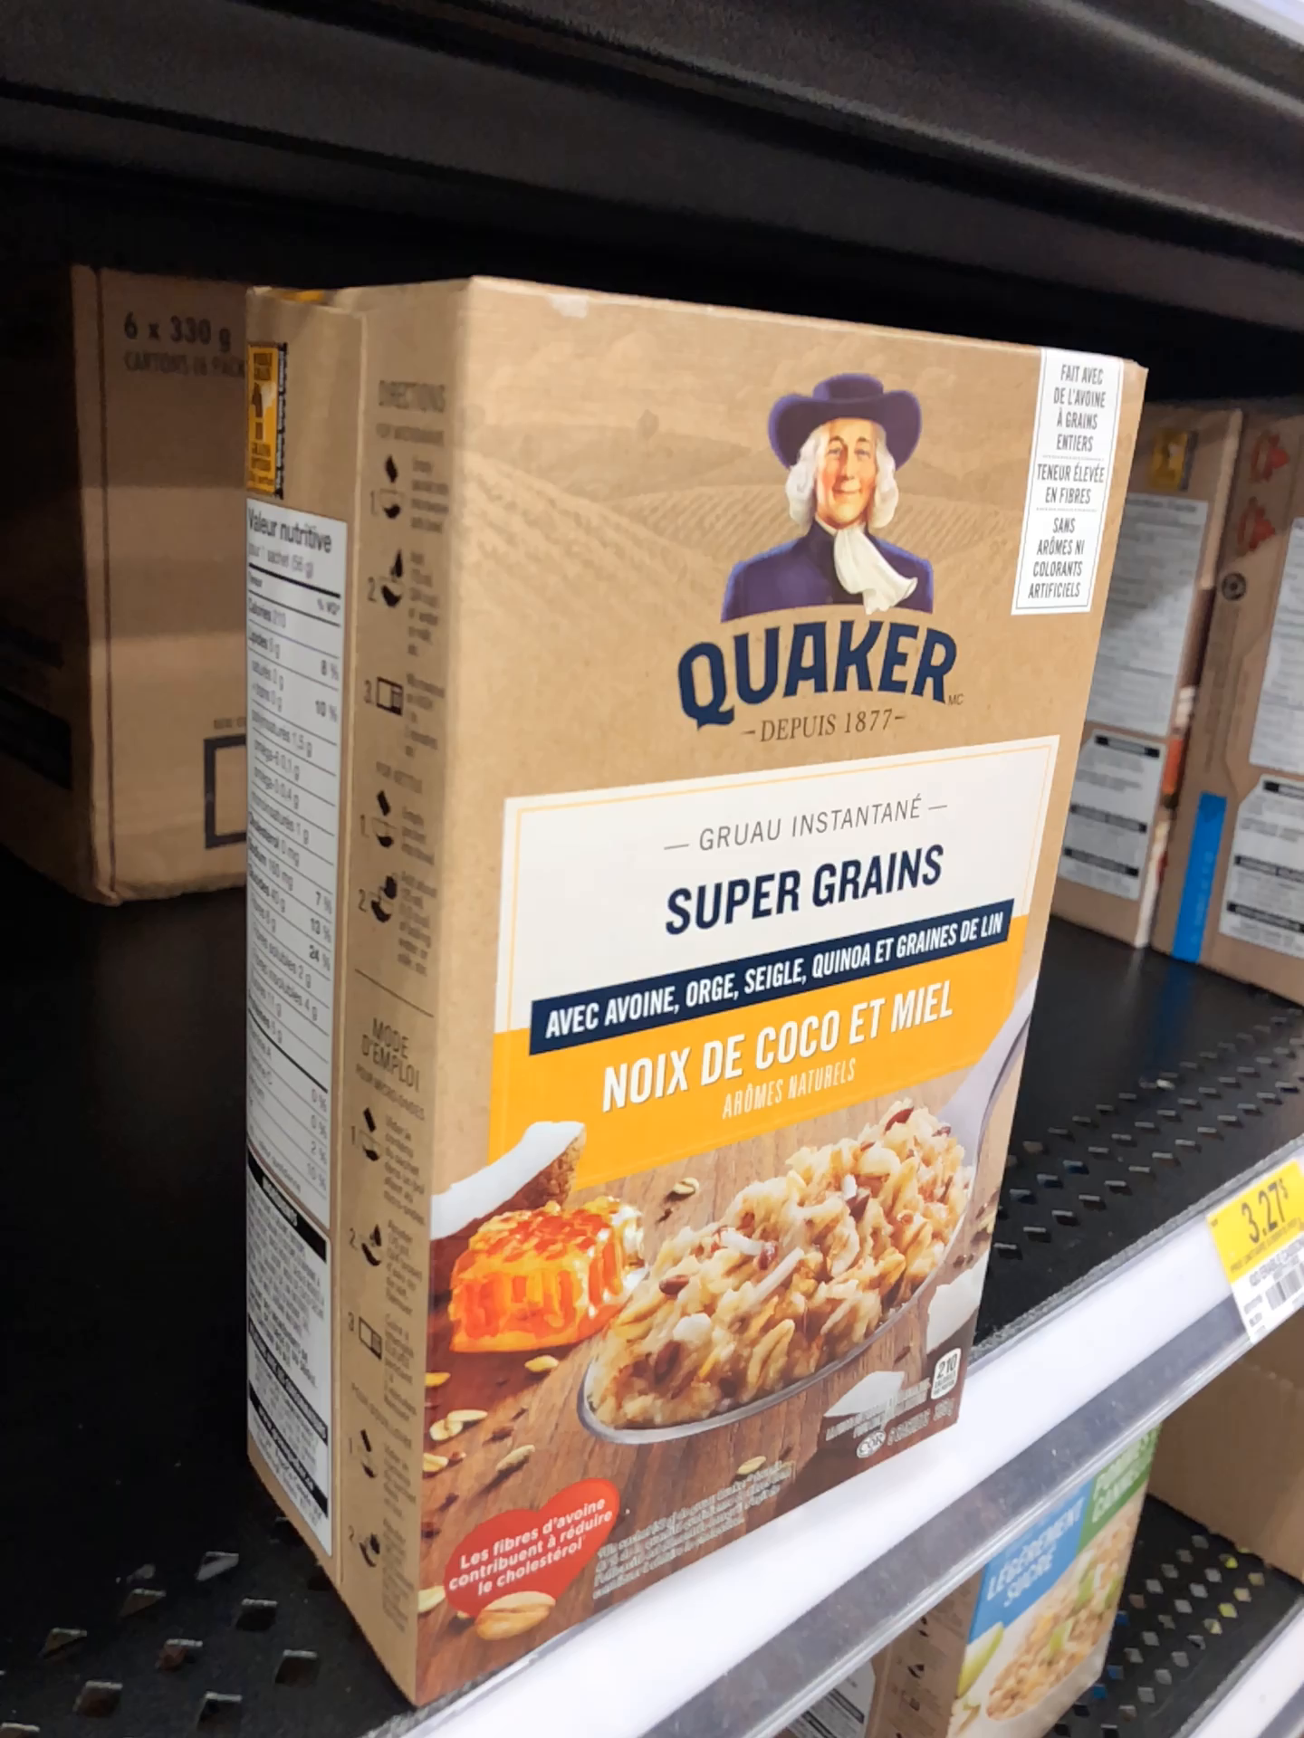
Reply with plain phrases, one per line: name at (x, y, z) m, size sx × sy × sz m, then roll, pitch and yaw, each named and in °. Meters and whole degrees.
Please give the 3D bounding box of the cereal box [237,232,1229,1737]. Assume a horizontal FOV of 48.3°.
cereal box at (0.009, 0.014, 0.232) m, size 0.130 × 0.199 × 0.060 m, roll -10°, pitch 24°, yaw -38°
